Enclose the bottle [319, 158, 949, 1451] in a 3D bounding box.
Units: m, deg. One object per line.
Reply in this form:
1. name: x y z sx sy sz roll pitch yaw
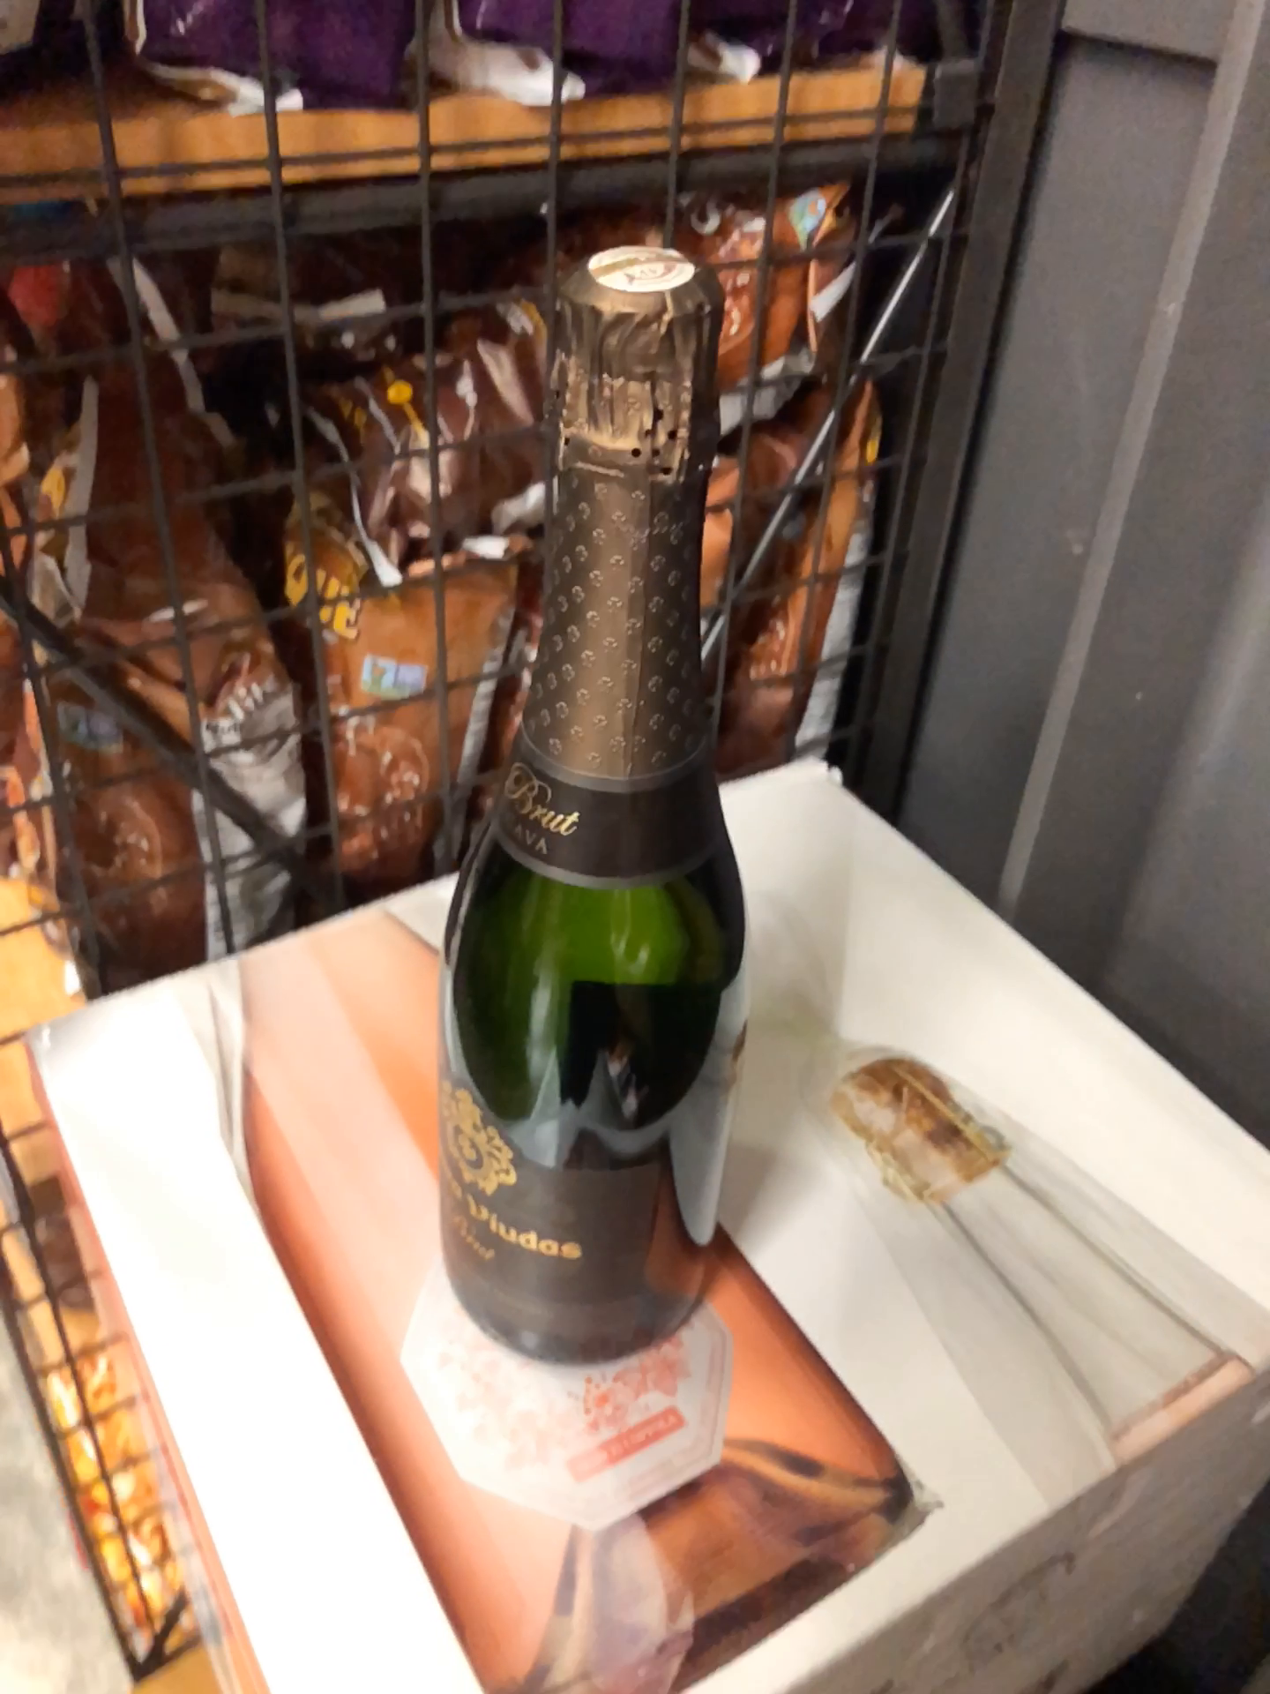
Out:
1. bottle: -0.011 0.010 0.368 0.084 0.325 0.090 3 36 -2
